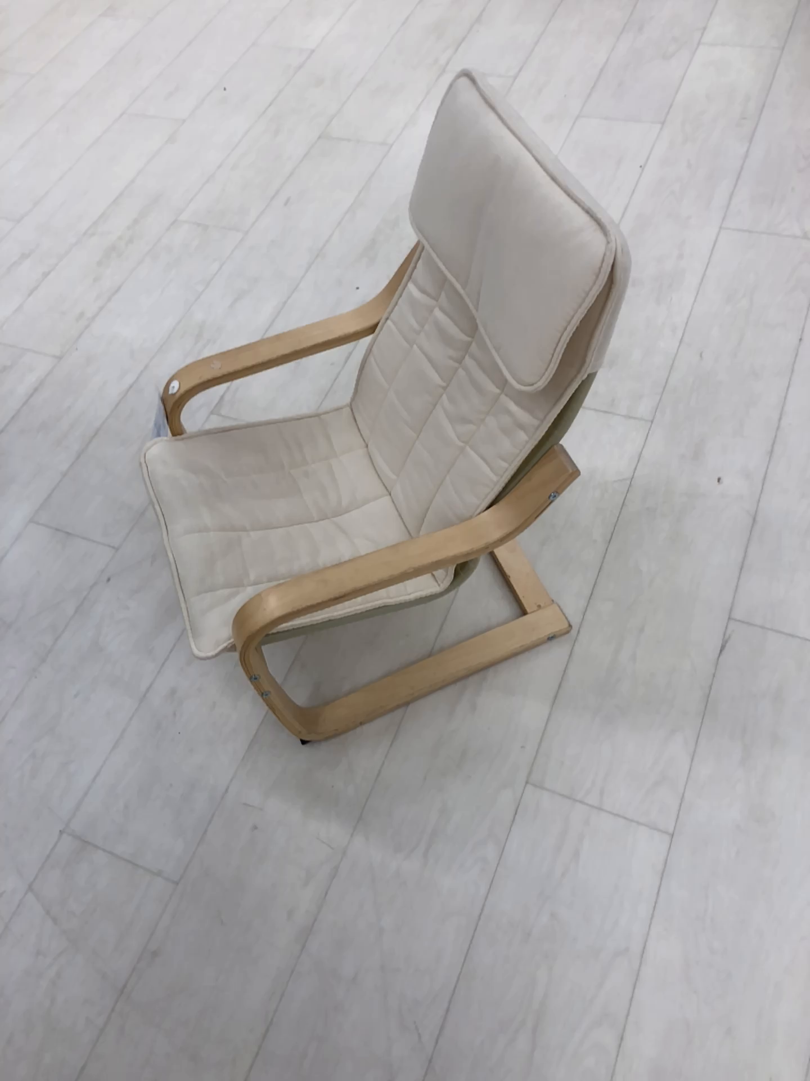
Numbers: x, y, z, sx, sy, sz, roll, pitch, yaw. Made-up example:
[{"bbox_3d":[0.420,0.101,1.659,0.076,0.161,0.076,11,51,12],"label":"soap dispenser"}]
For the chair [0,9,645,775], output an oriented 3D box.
[{"bbox_3d":[-0.096,-0.153,1.188,0.560,0.688,0.531,-22,55,-6],"label":"chair"}]
